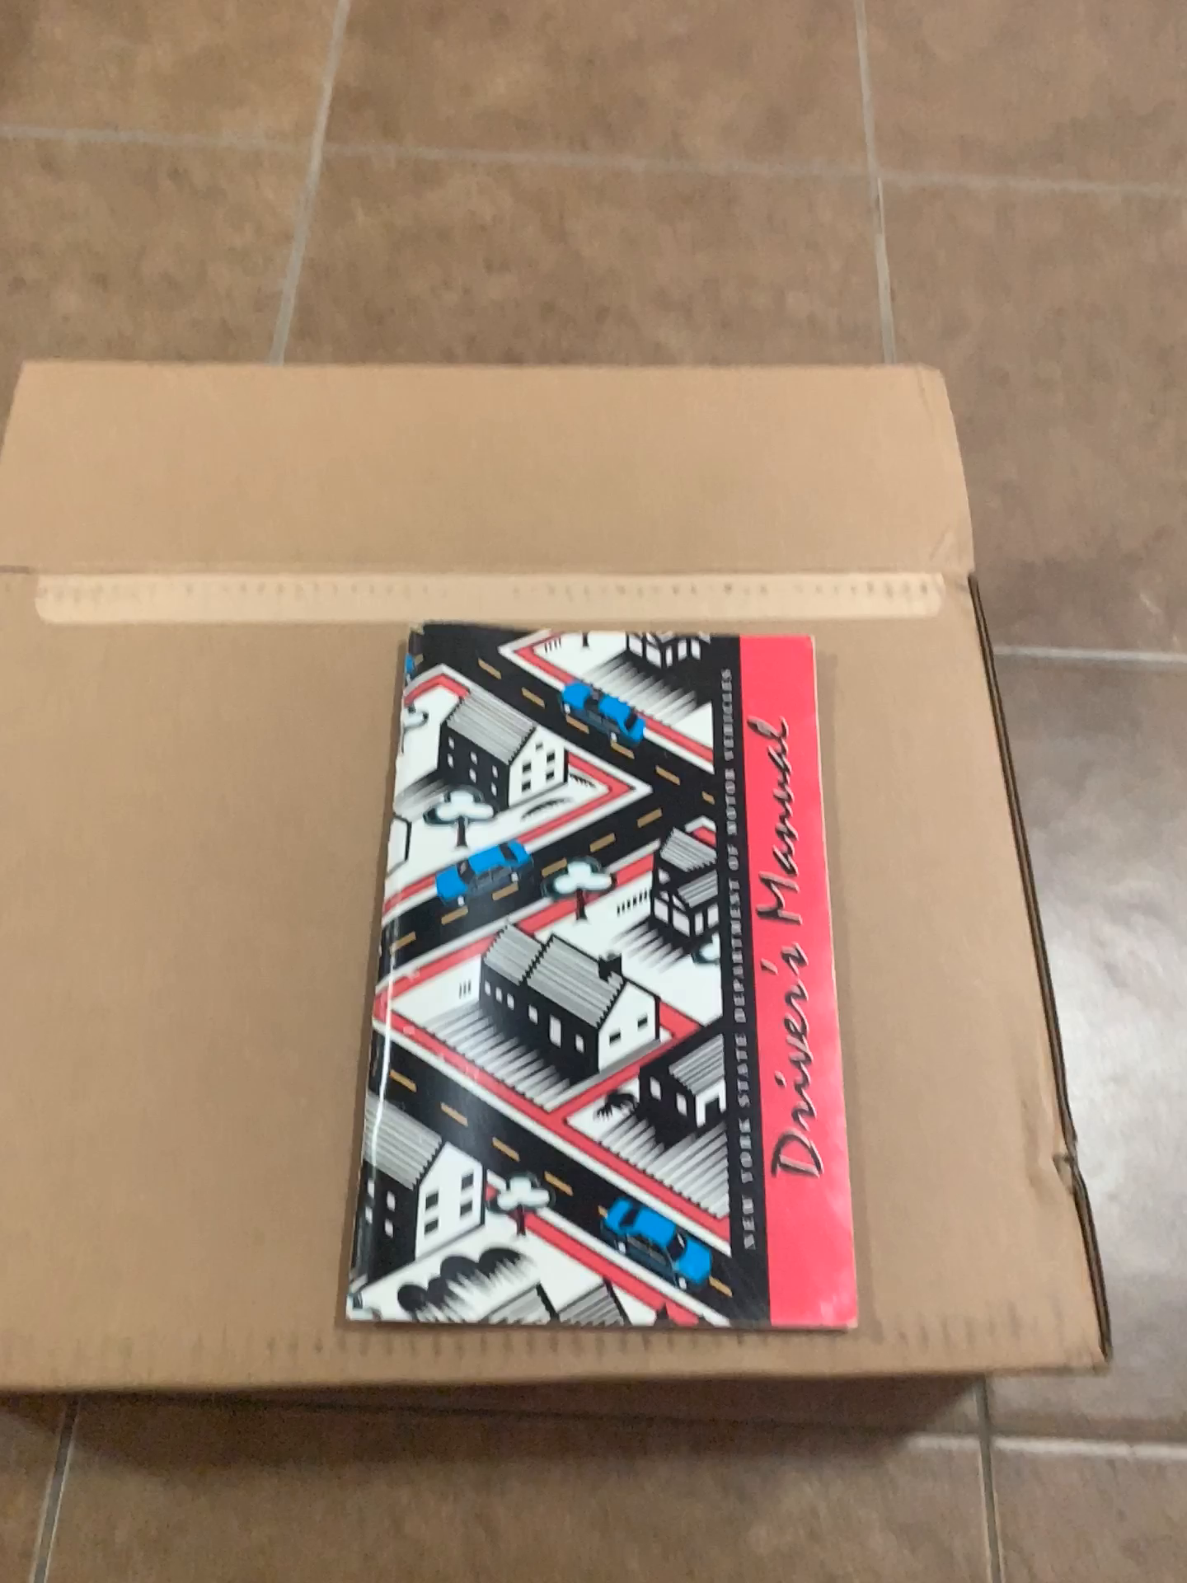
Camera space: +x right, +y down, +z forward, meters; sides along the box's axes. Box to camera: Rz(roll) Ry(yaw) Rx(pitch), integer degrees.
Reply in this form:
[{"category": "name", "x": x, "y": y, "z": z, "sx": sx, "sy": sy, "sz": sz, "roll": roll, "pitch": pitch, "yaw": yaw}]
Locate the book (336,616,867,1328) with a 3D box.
[{"category": "book", "x": 0.004, "y": 0.042, "z": 0.355, "sx": 0.133, "sy": 0.013, "sz": 0.207, "roll": 1, "pitch": 65, "yaw": -1}]
